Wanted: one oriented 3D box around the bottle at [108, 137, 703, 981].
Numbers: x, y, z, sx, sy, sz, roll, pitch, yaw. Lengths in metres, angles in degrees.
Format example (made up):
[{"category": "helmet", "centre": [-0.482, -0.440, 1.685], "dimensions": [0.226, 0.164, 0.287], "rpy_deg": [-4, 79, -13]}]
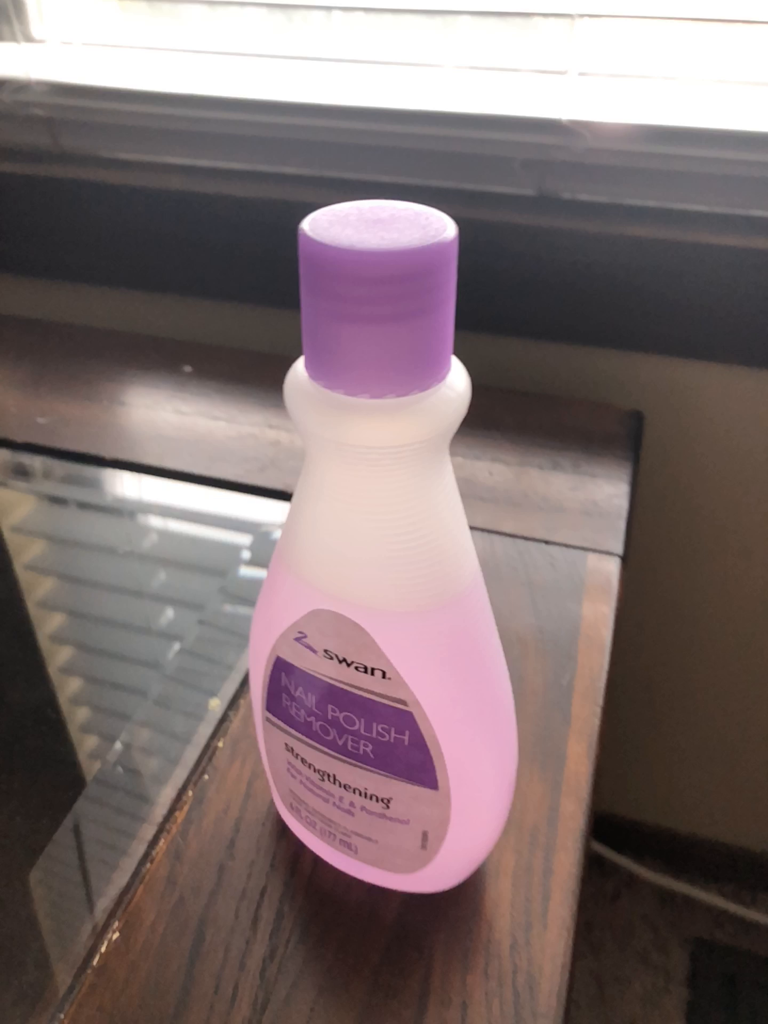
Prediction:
[{"category": "bottle", "centre": [0.005, 0.019, 0.188], "dimensions": [0.080, 0.169, 0.050], "rpy_deg": [19, 42, 24]}]
